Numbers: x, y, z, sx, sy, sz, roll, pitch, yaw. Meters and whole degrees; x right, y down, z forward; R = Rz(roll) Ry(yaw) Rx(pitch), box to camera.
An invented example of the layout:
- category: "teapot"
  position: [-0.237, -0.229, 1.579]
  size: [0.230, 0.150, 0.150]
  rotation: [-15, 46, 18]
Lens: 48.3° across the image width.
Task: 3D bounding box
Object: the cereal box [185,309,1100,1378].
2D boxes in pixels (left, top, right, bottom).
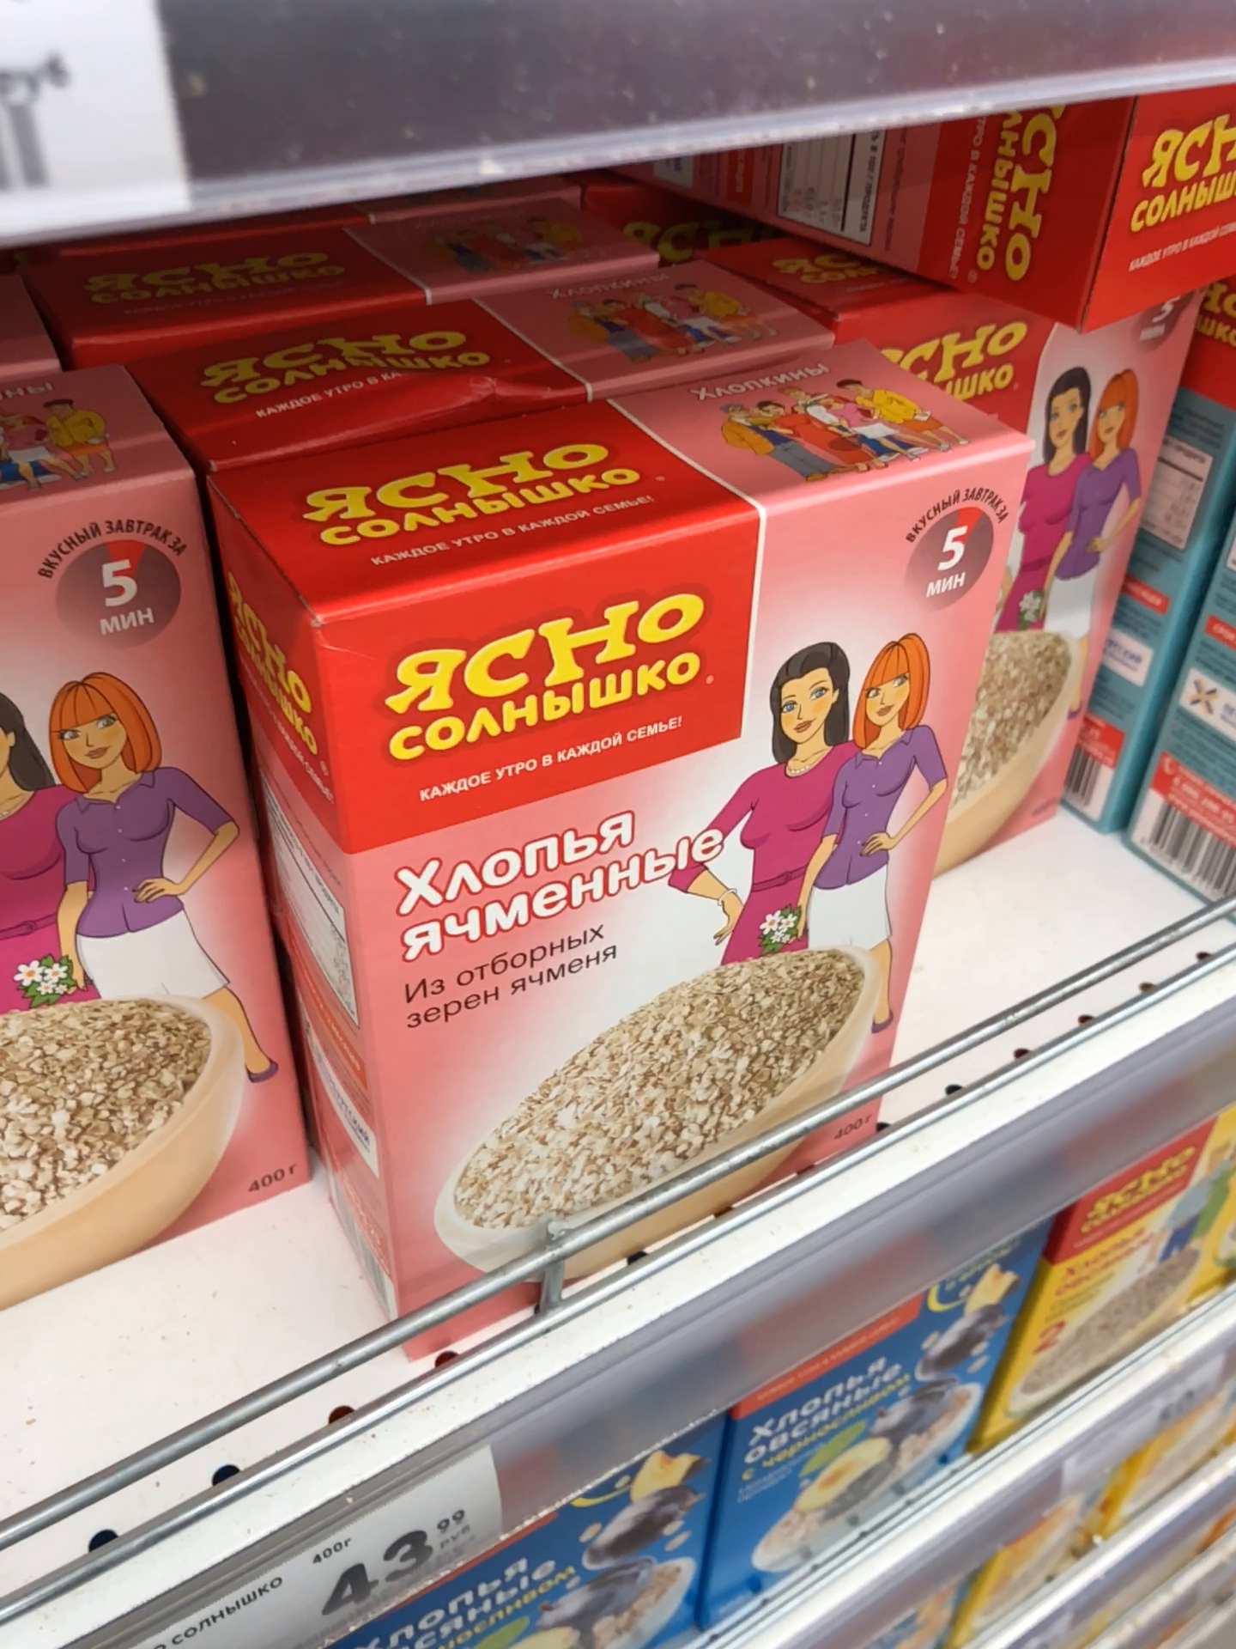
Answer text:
- category: "cereal box"
  position: [0.005, 0.010, 0.280]
  size: [0.140, 0.189, 0.050]
  rotation: [-19, 44, -24]
